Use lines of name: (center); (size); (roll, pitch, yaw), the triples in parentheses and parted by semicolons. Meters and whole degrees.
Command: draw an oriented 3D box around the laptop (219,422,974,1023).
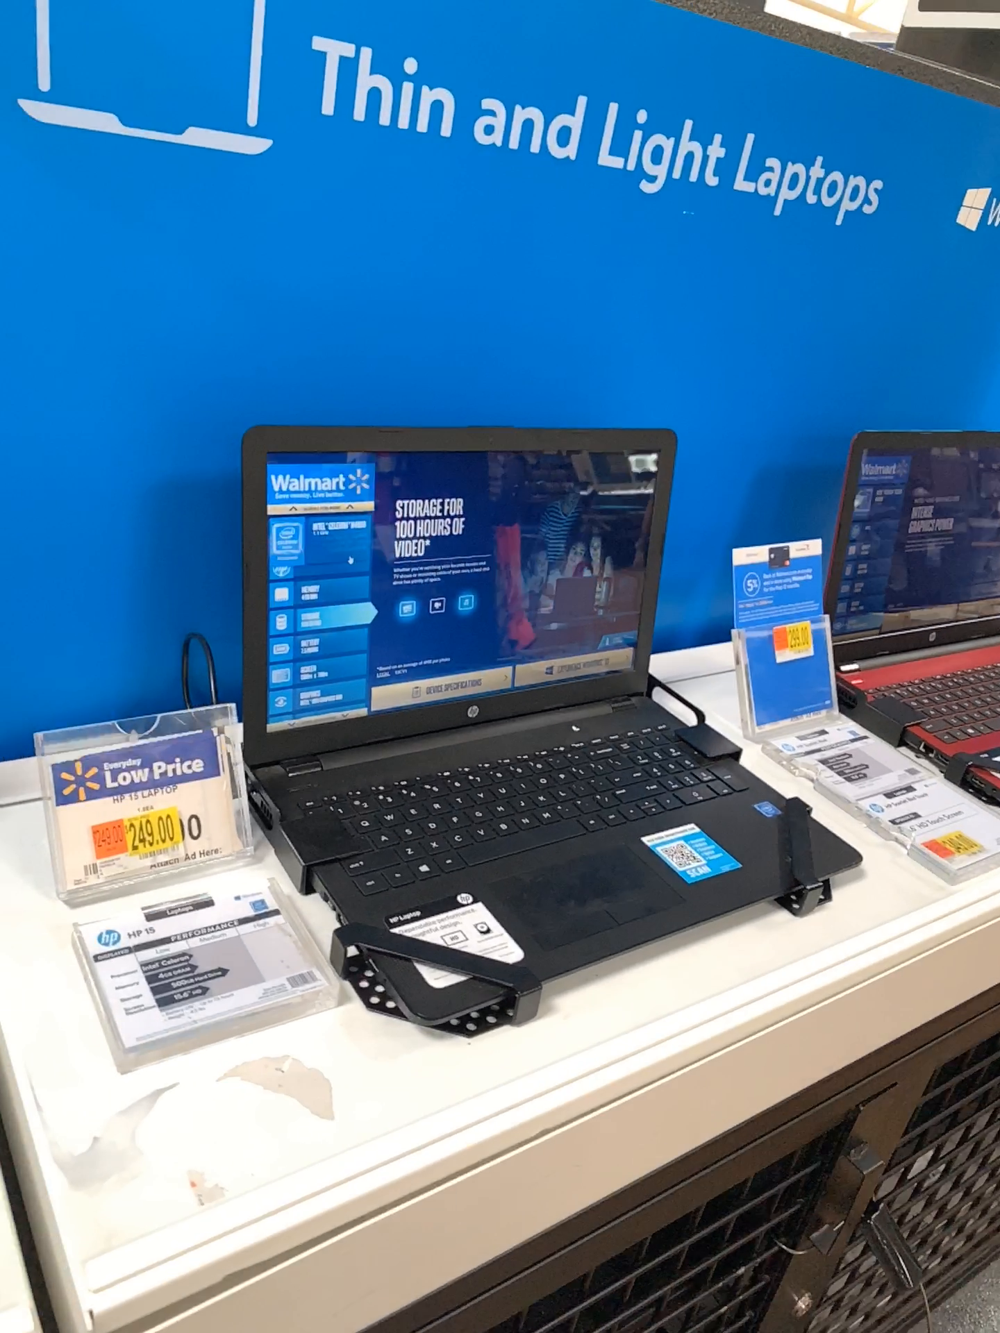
laptop: (0.047, -0.006, 0.679); (0.363, 0.225, 0.287); (-9, 33, -34)
